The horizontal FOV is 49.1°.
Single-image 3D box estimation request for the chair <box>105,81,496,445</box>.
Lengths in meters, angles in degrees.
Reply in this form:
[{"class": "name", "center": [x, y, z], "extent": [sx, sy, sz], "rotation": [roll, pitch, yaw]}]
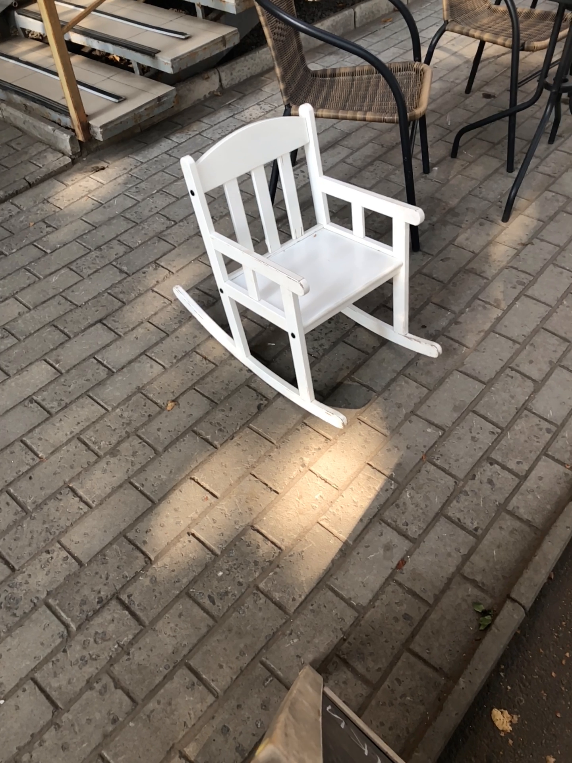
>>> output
[{"class": "chair", "center": [0.012, -0.323, 1.510], "extent": [0.441, 0.458, 0.751], "rotation": [-36, 54, -27]}]
